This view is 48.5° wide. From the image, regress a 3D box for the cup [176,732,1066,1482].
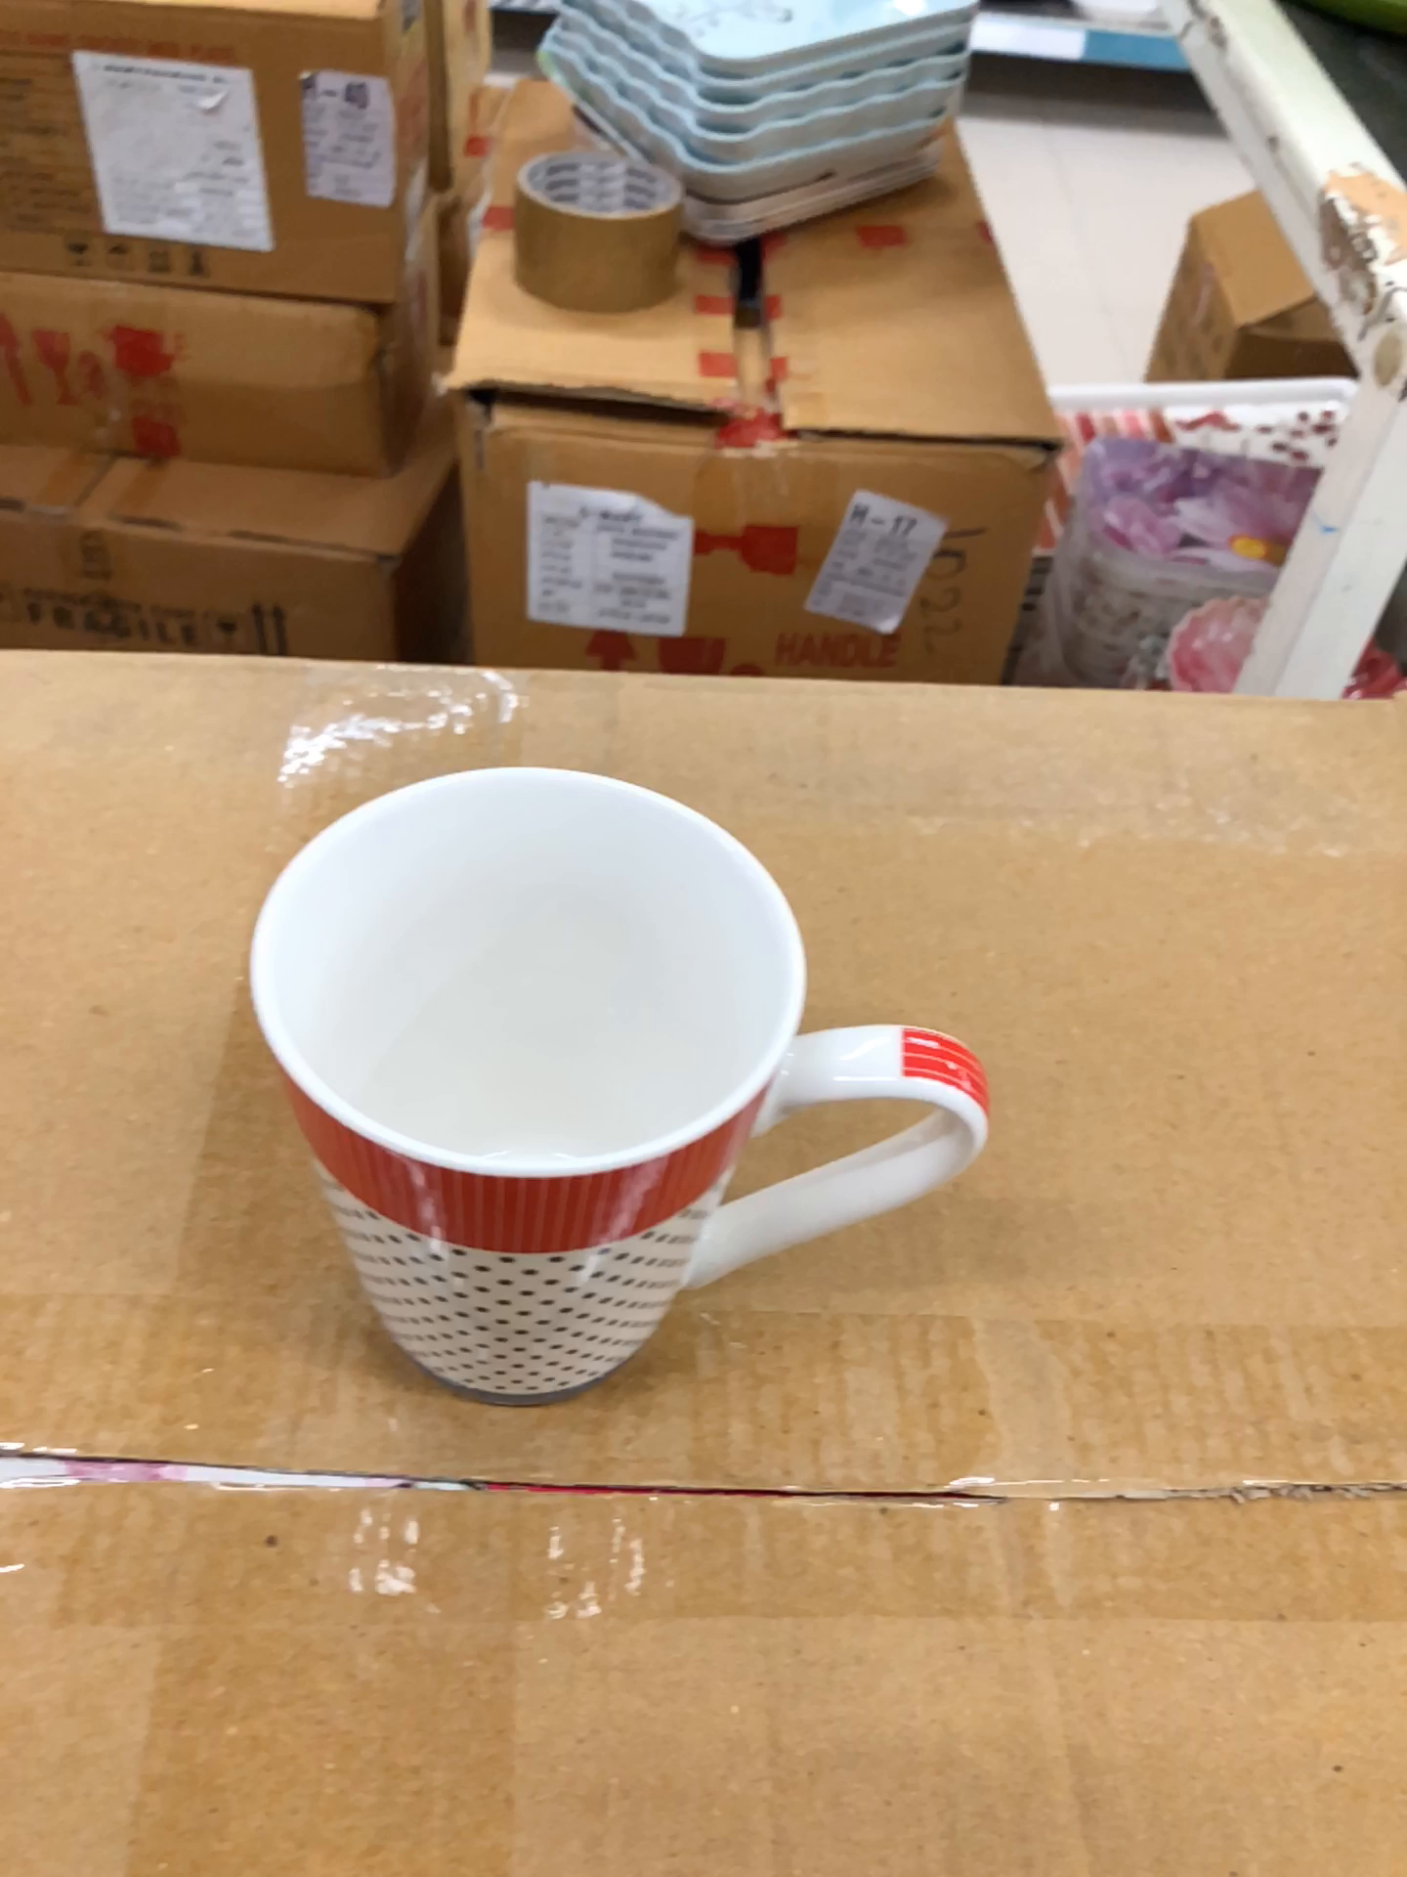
[{"bbox_3d":[-0.017,0.028,0.273,0.120,0.089,0.090,-1,48,-7],"label":"cup"}]
